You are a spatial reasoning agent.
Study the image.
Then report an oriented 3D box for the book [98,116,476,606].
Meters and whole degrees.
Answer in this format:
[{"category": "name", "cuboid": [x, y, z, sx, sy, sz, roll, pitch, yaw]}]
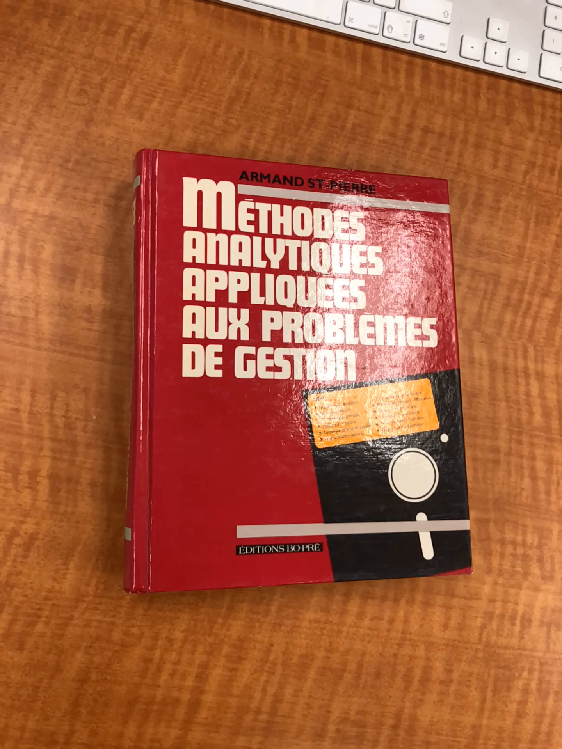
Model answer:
[{"category": "book", "cuboid": [0.003, -0.008, 0.361, 0.200, 0.050, 0.250, 1, 82, -13]}]
